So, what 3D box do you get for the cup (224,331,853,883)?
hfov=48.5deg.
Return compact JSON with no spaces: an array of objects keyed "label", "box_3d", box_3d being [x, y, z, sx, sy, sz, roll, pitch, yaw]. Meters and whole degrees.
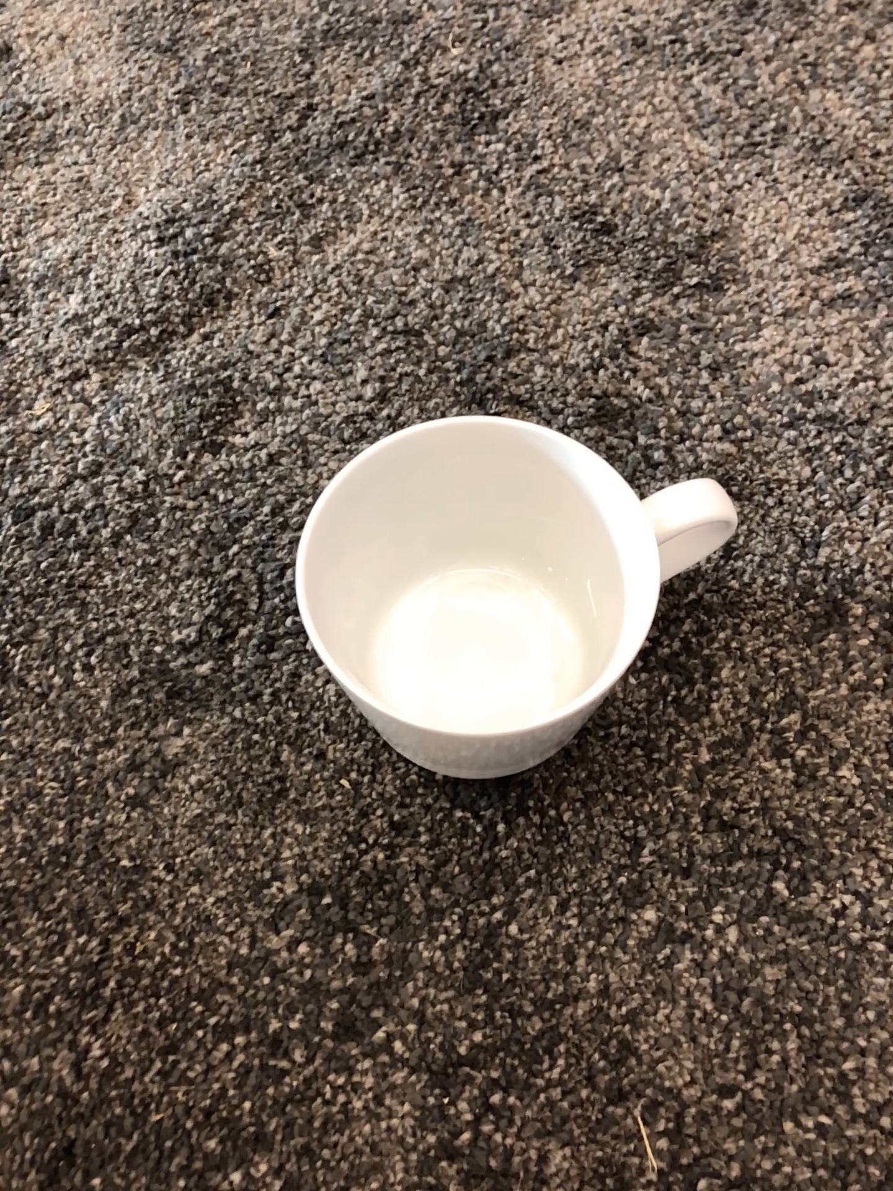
[{"label":"cup","box_3d":[0.023,0.005,0.305,0.140,0.080,0.100,-23,66,-7]}]
